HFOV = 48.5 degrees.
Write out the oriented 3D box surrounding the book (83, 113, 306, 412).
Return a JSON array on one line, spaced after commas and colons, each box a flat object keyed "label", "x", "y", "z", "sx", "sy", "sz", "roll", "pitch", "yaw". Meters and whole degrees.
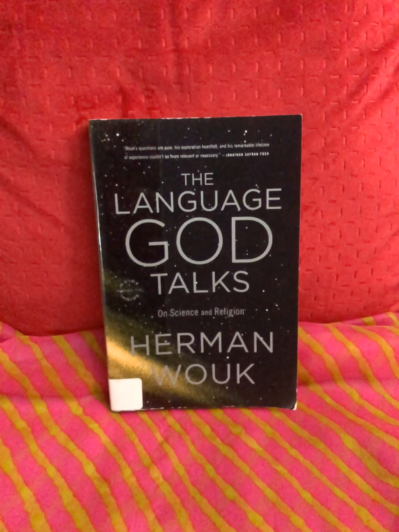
[{"label": "book", "x": 0.000, "y": 0.001, "z": 0.309, "sx": 0.138, "sy": 0.199, "sz": 0.030, "roll": -2, "pitch": 12, "yaw": -1}]
